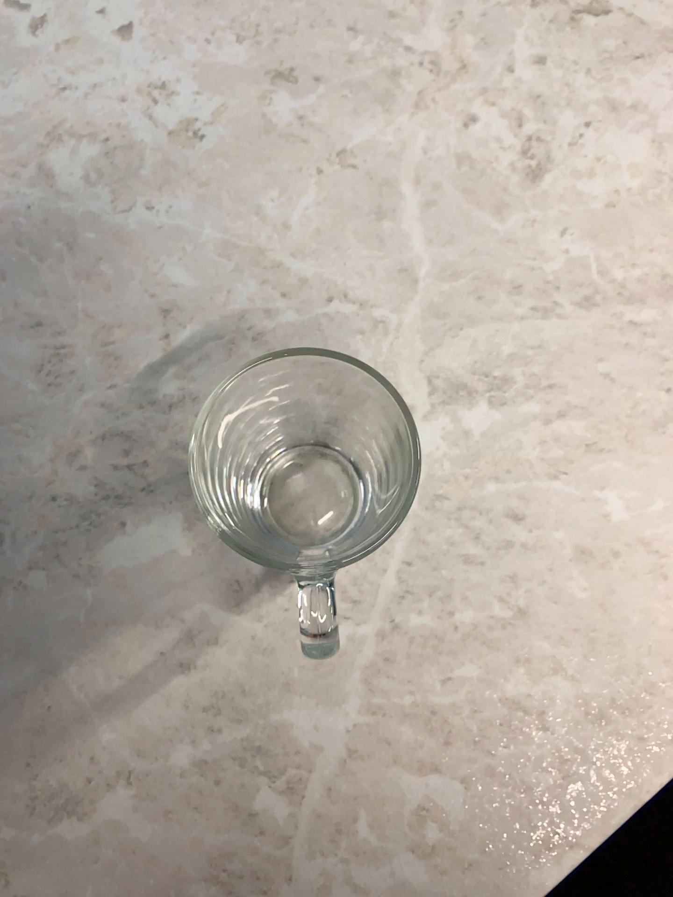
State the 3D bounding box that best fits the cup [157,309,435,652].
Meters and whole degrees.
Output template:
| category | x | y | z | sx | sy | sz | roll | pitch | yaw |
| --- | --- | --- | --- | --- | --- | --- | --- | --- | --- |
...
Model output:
| category | x | y | z | sx | sy | sz | roll | pitch | yaw |
| --- | --- | --- | --- | --- | --- | --- | --- | --- | --- |
| cup | -0.013 | 0.018 | 0.284 | 0.089 | 0.097 | 0.115 | 1 | 78 | -1 |
